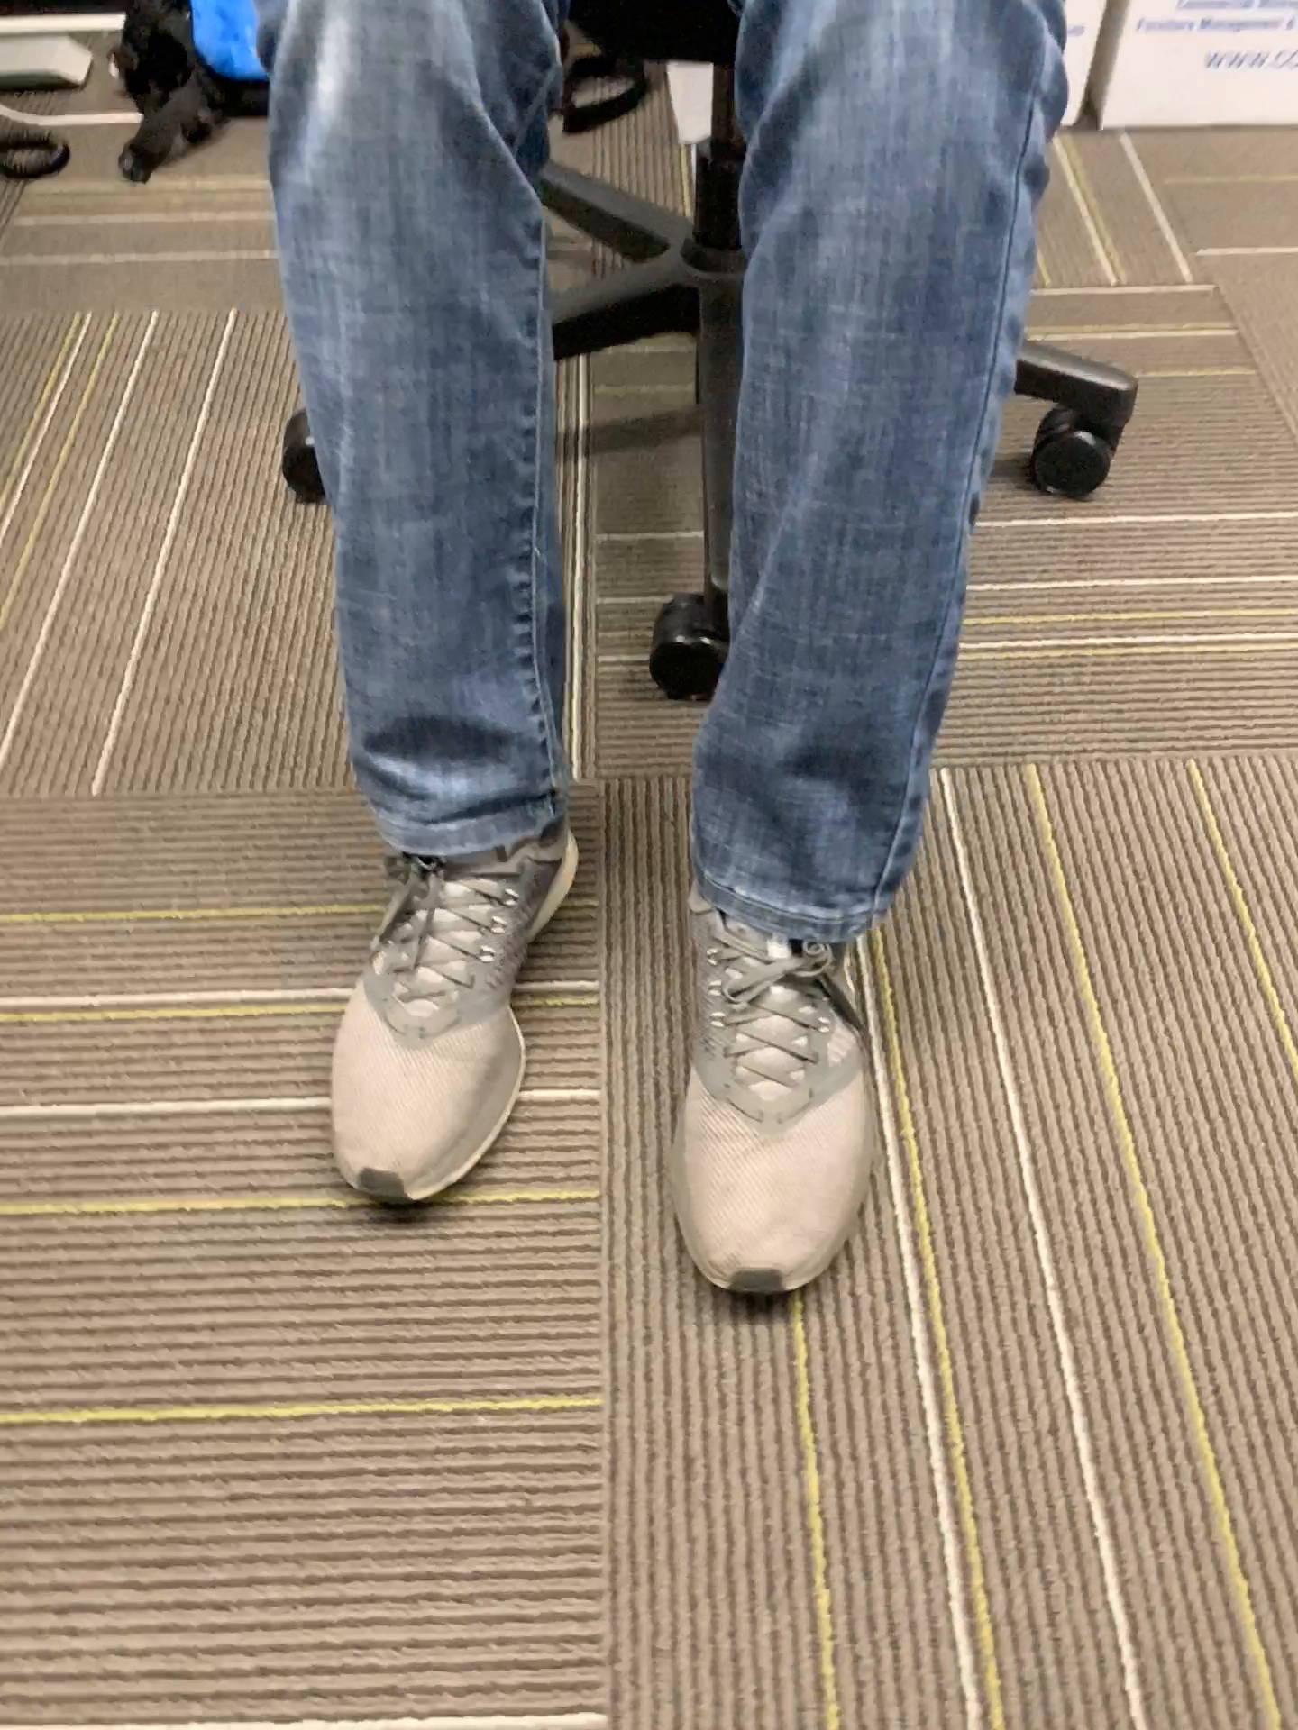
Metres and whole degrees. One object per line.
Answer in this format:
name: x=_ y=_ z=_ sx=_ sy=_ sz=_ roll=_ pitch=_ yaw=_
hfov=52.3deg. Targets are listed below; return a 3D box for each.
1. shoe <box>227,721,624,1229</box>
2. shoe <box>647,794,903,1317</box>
shoe: x=-0.118 y=0.054 z=0.791 sx=0.132 sy=0.078 sz=0.284 roll=11 pitch=55 yaw=10
shoe: x=0.078 y=0.098 z=0.765 sx=0.124 sy=0.078 sz=0.287 roll=5 pitch=54 yaw=5
